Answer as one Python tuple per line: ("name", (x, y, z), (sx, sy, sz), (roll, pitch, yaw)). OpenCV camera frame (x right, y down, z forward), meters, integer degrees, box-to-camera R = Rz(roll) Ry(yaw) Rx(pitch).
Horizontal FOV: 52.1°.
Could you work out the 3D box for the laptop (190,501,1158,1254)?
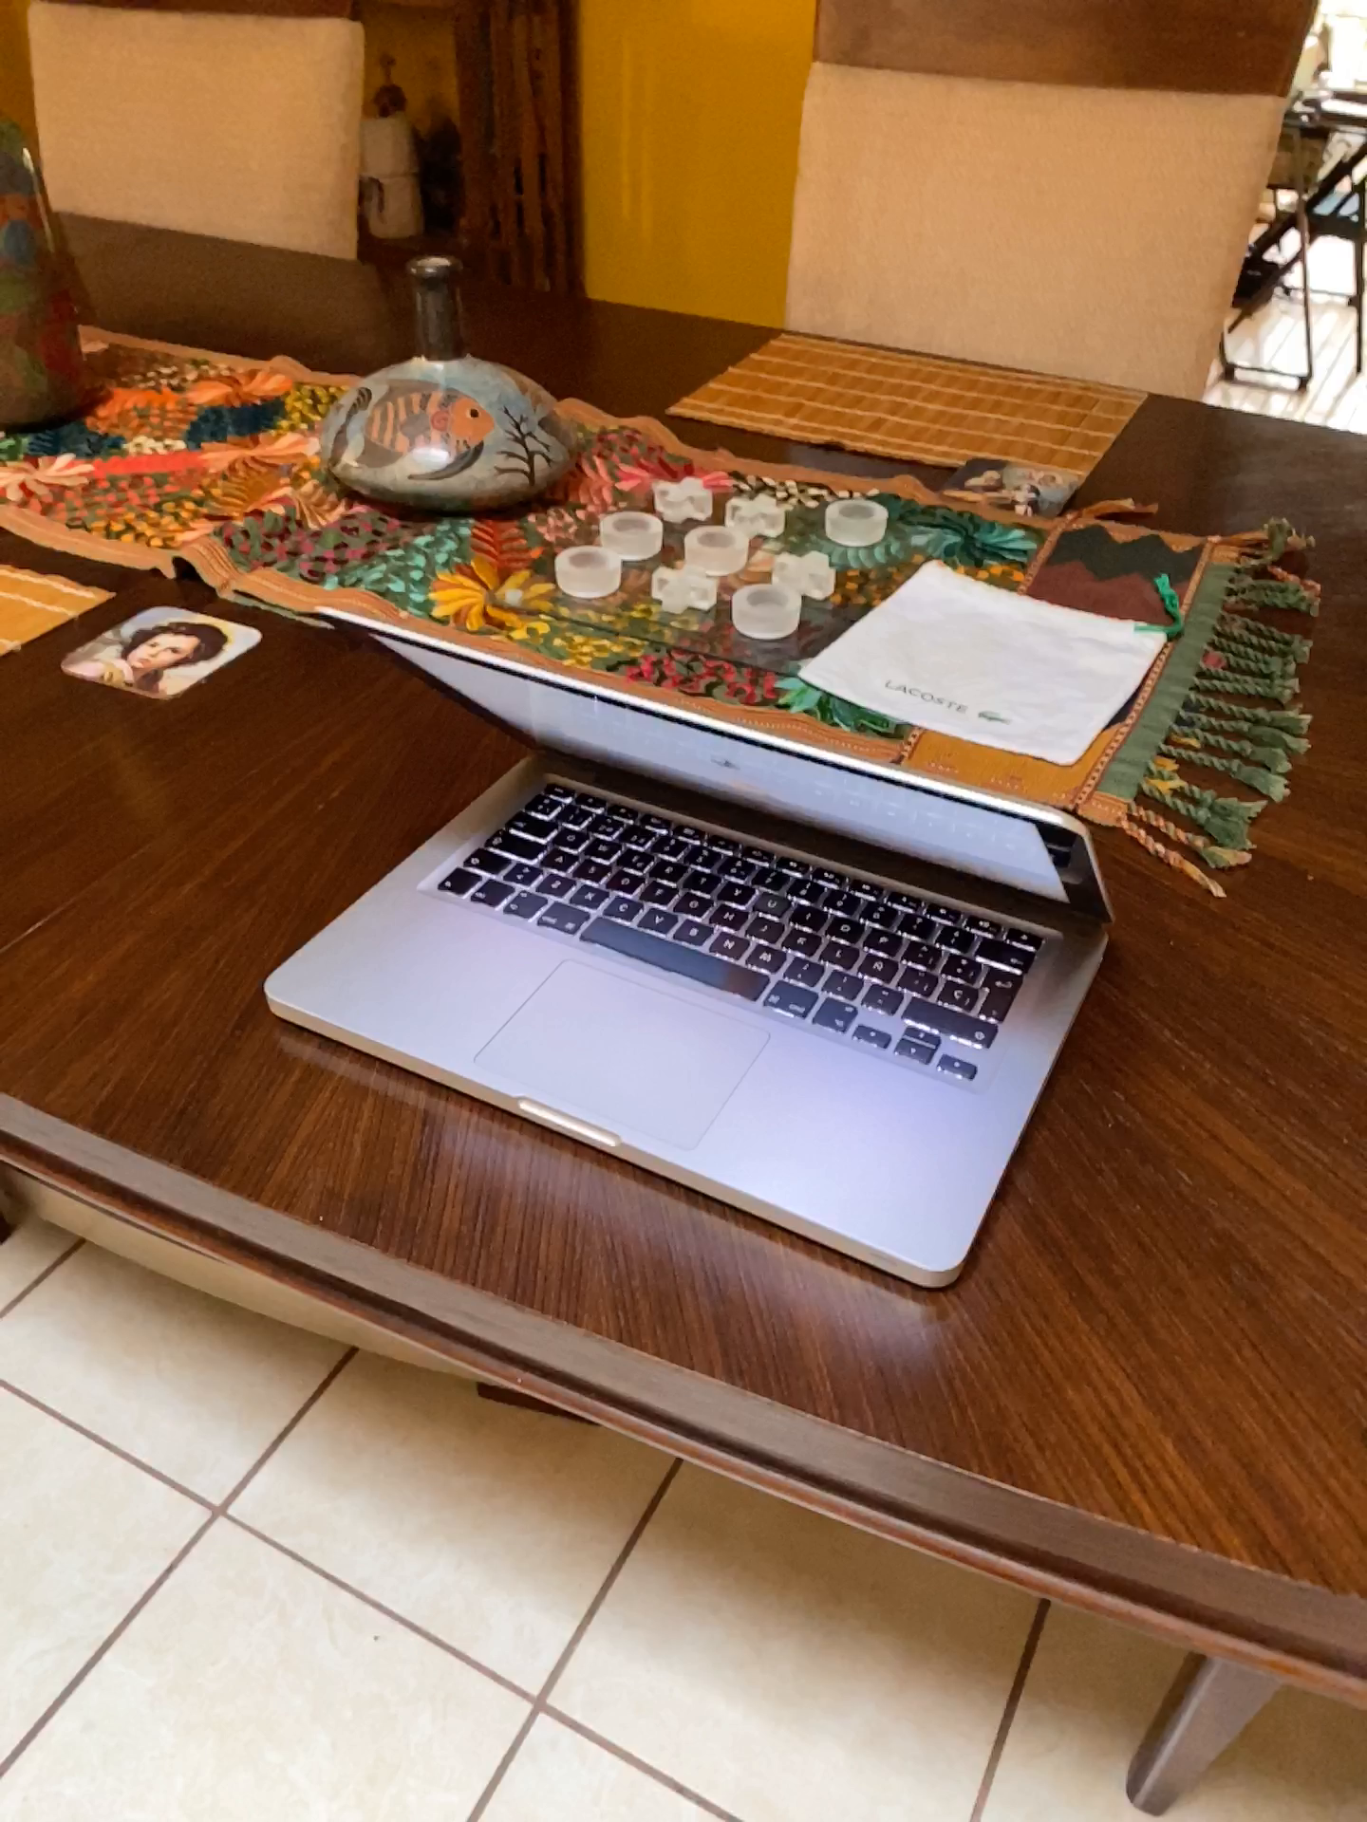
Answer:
("laptop", (0.002, -0.037, 0.603), (0.321, 0.152, 0.214), (18, 41, 20))
